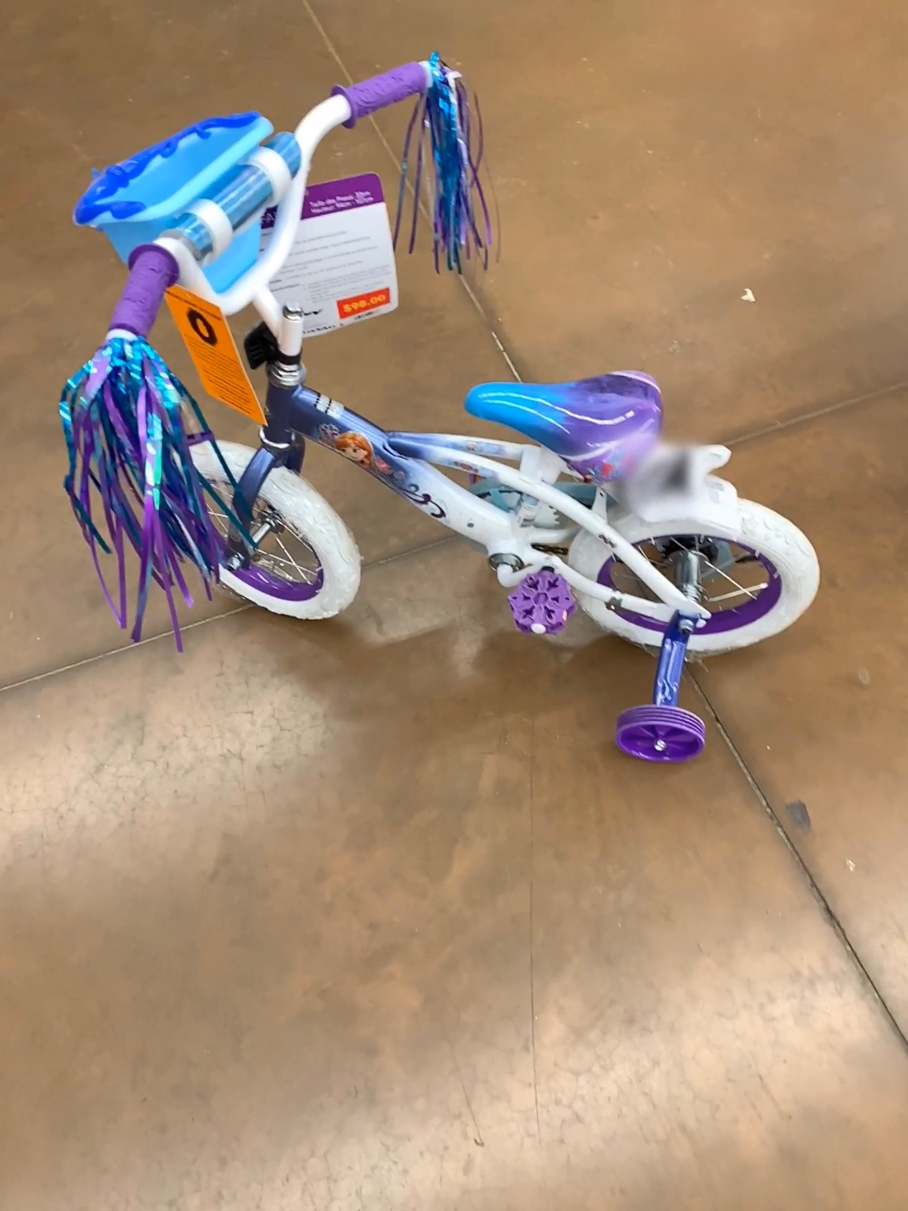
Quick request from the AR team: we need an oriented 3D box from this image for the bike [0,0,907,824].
[{"bbox_3d":[0.006,-0.166,0.932,0.804,0.634,0.441,9,59,7],"label":"bike"}]
